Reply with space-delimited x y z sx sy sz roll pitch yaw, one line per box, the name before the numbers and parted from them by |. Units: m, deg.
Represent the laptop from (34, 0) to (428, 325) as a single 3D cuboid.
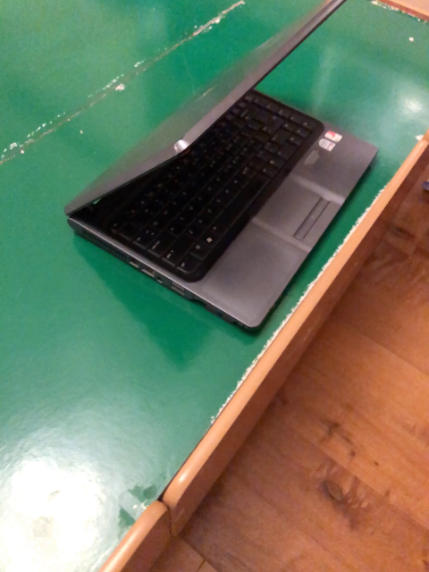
laptop | 0.031 -0.172 0.496 0.227 0.171 0.317 30 58 14
